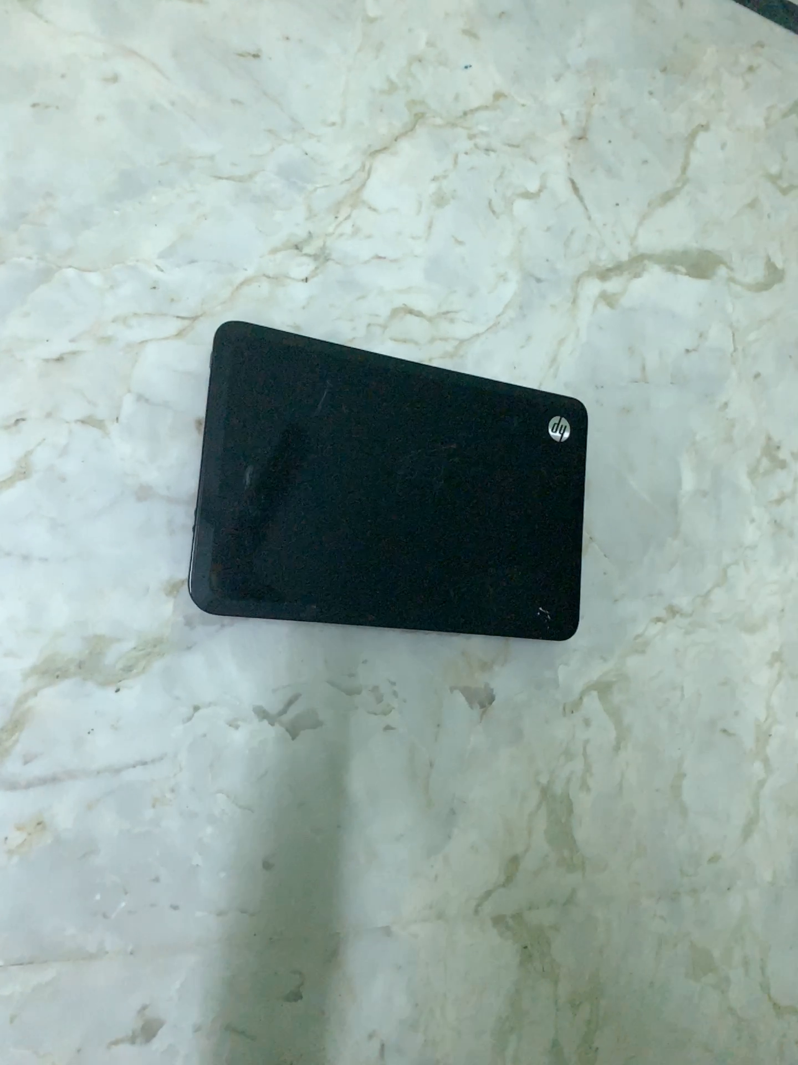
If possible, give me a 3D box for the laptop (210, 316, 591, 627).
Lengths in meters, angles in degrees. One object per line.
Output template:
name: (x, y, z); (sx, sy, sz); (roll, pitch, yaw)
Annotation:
laptop: (0.016, -0.043, 0.690); (0.333, 0.022, 0.221); (7, 75, -24)
